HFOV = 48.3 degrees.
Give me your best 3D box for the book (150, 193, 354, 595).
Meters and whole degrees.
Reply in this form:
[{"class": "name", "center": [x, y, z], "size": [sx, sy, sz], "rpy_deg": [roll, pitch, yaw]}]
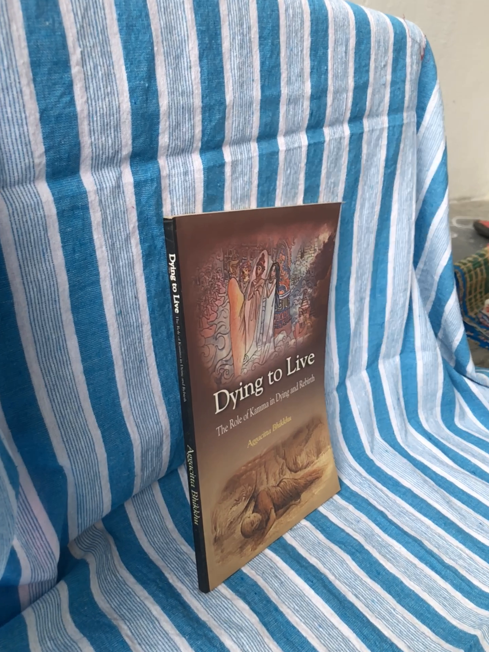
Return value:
[{"class": "book", "center": [0.017, 0.026, 0.338], "size": [0.020, 0.210, 0.151], "rpy_deg": [3, 12, 40]}]
